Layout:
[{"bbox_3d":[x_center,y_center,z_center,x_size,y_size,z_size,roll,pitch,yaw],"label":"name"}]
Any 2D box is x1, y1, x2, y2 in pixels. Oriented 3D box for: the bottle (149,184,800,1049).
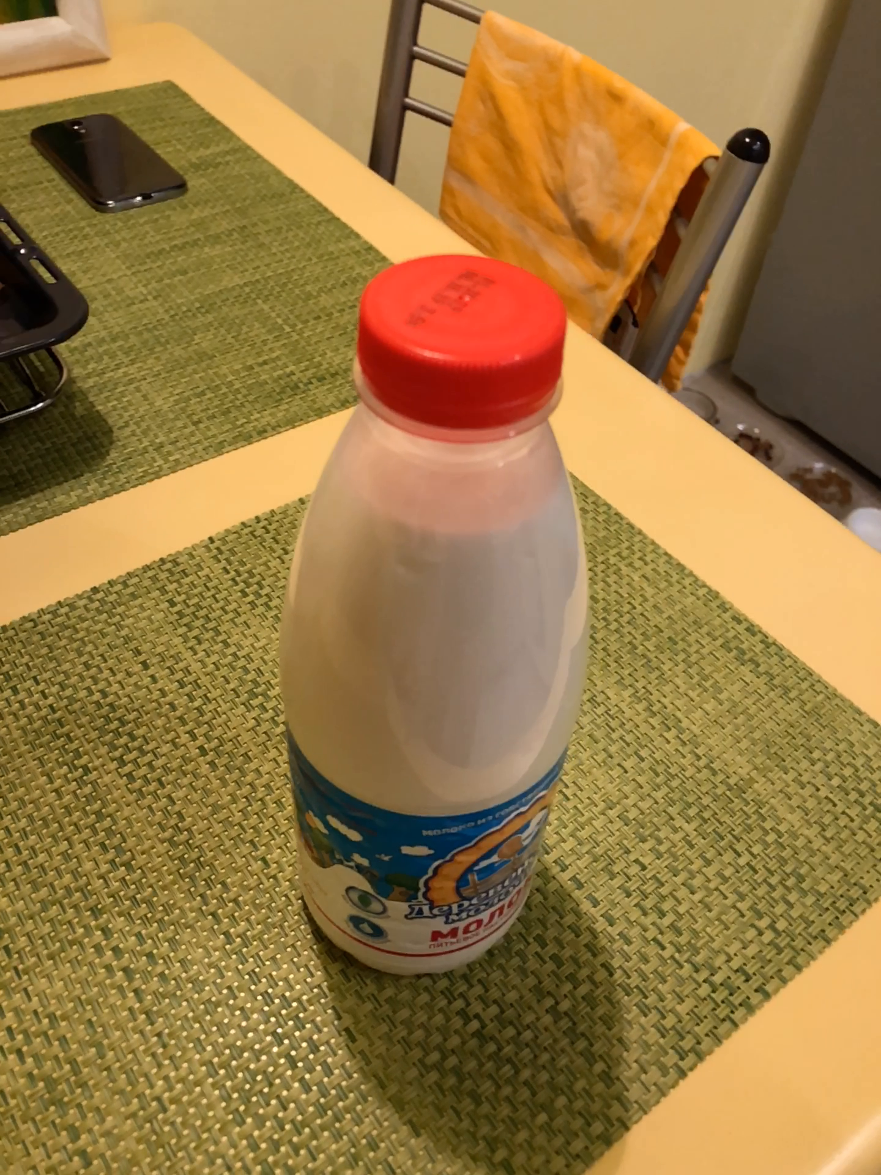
[{"bbox_3d":[-0.002,0.024,0.268,0.090,0.219,0.090,3,47,-3],"label":"bottle"}]
